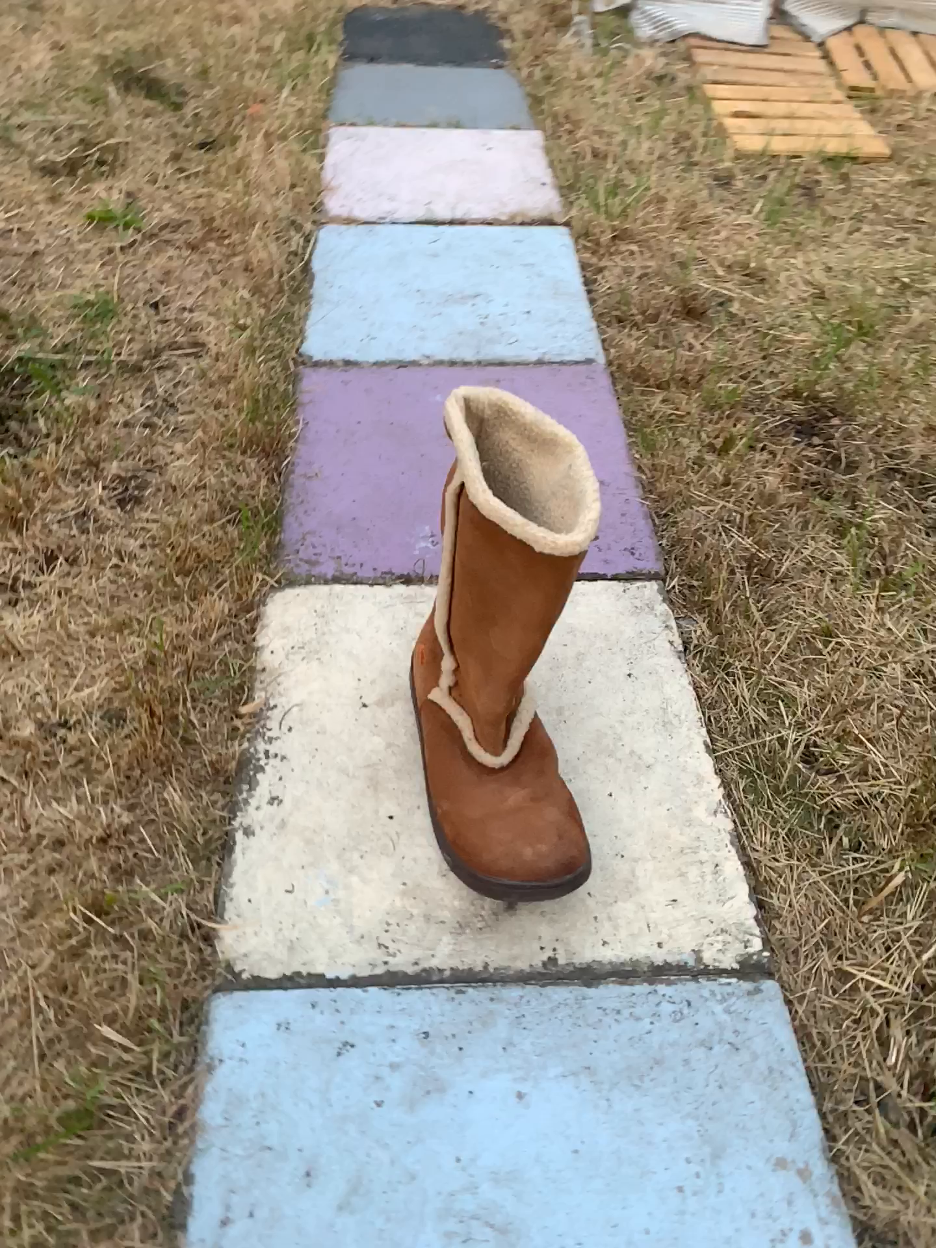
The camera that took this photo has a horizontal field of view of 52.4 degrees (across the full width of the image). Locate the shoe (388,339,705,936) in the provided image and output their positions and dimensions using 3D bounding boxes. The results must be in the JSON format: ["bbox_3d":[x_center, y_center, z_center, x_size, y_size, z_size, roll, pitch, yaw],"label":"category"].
[{"bbox_3d":[0.023,0.010,0.649,0.110,0.297,0.262,-7,46,-12],"label":"shoe"}]
